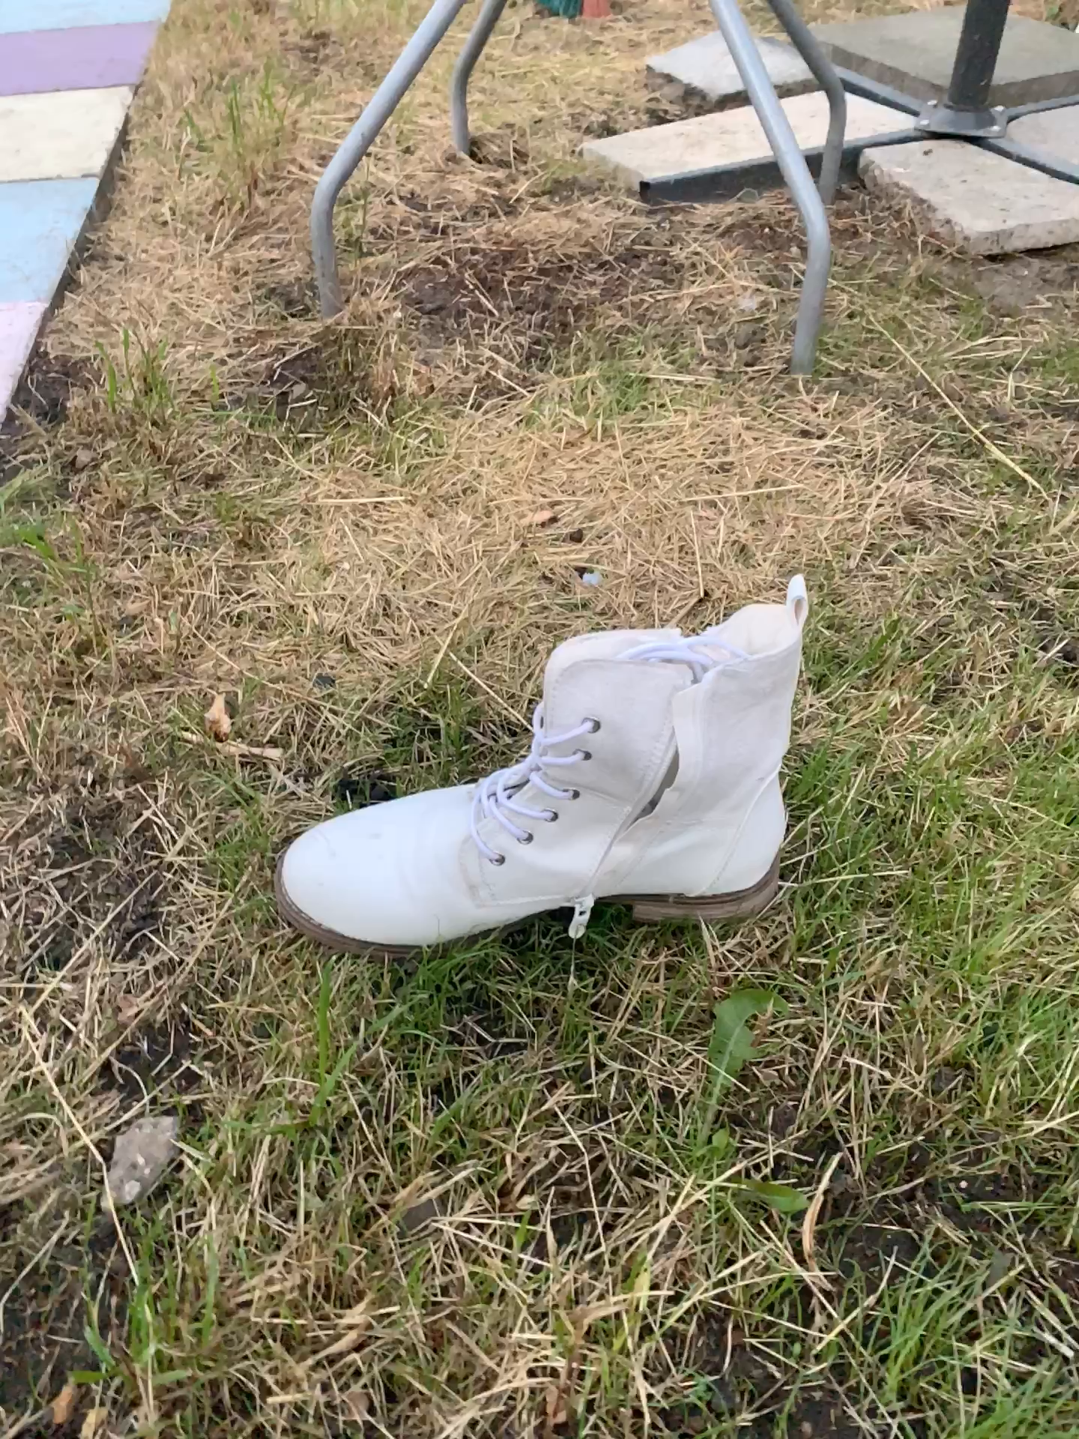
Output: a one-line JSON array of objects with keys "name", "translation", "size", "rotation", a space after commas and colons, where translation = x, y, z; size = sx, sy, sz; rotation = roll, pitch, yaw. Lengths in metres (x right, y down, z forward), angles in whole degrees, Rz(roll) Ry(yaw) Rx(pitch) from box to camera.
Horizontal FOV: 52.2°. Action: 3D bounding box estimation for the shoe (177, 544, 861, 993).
[{"name": "shoe", "translation": [-0.009, 0.027, 0.516], "size": [0.260, 0.178, 0.101], "rotation": [-3, 43, -2]}]
